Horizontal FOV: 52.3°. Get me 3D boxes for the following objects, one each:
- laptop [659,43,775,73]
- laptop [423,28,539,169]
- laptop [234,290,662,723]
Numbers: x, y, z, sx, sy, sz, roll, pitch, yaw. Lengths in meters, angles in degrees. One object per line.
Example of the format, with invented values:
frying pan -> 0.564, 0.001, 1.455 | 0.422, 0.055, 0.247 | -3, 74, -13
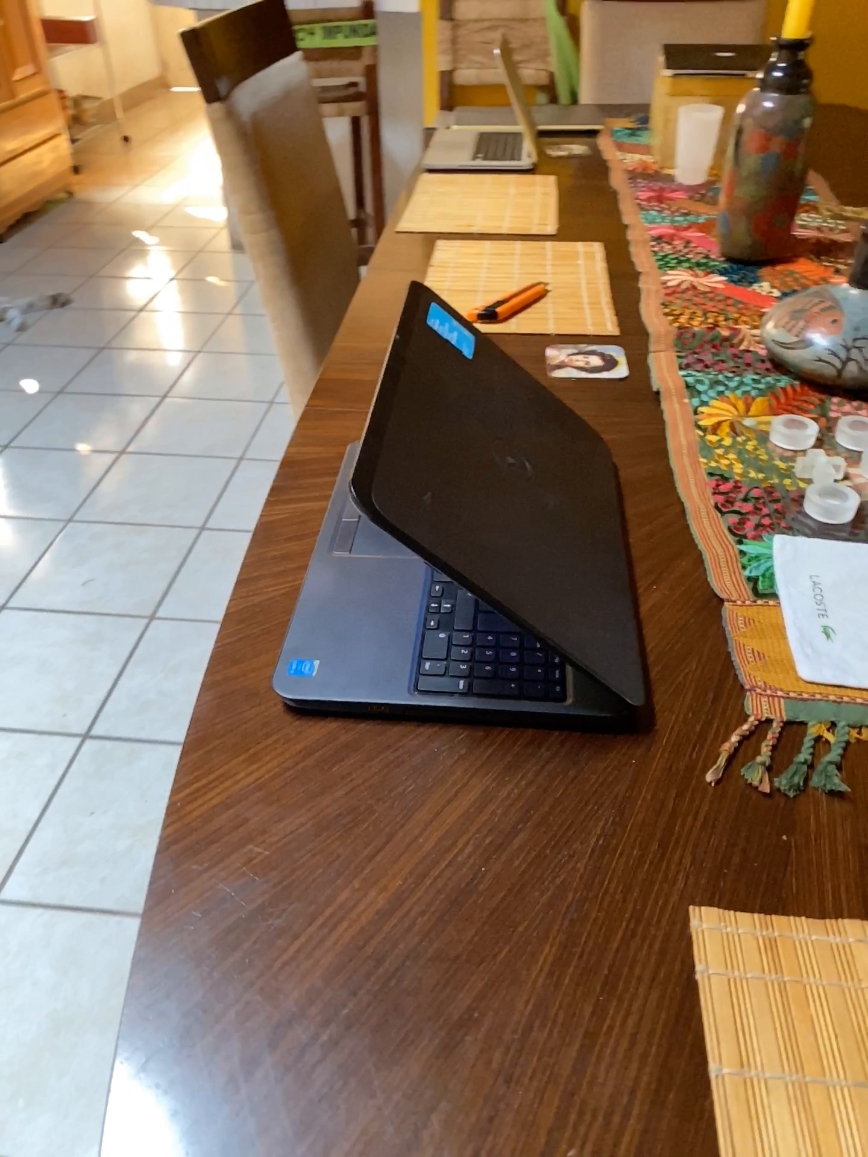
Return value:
laptop -> 0.552, -1.031, 1.748 | 0.201, 0.001, 0.294 | 5, 40, 5
laptop -> 0.106, -1.038, 1.898 | 0.221, 0.207, 0.373 | 1, 37, 4
laptop -> 0.020, -0.083, 0.699 | 0.248, 0.158, 0.358 | 3, 38, 4
